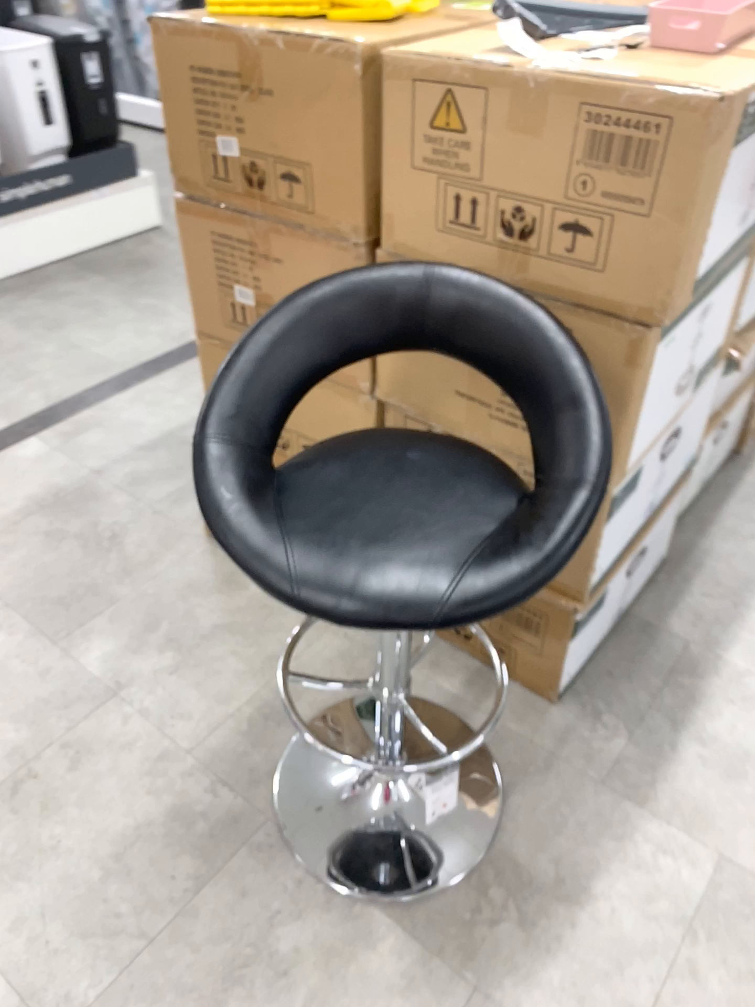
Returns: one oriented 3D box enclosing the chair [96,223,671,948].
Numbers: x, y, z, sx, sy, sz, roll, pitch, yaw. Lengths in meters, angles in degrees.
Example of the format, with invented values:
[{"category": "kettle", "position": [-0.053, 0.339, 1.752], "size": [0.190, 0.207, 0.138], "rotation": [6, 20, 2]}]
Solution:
[{"category": "chair", "position": [0.030, 0.153, 1.159], "size": [0.509, 0.933, 0.487], "rotation": [6, 39, 7]}]
